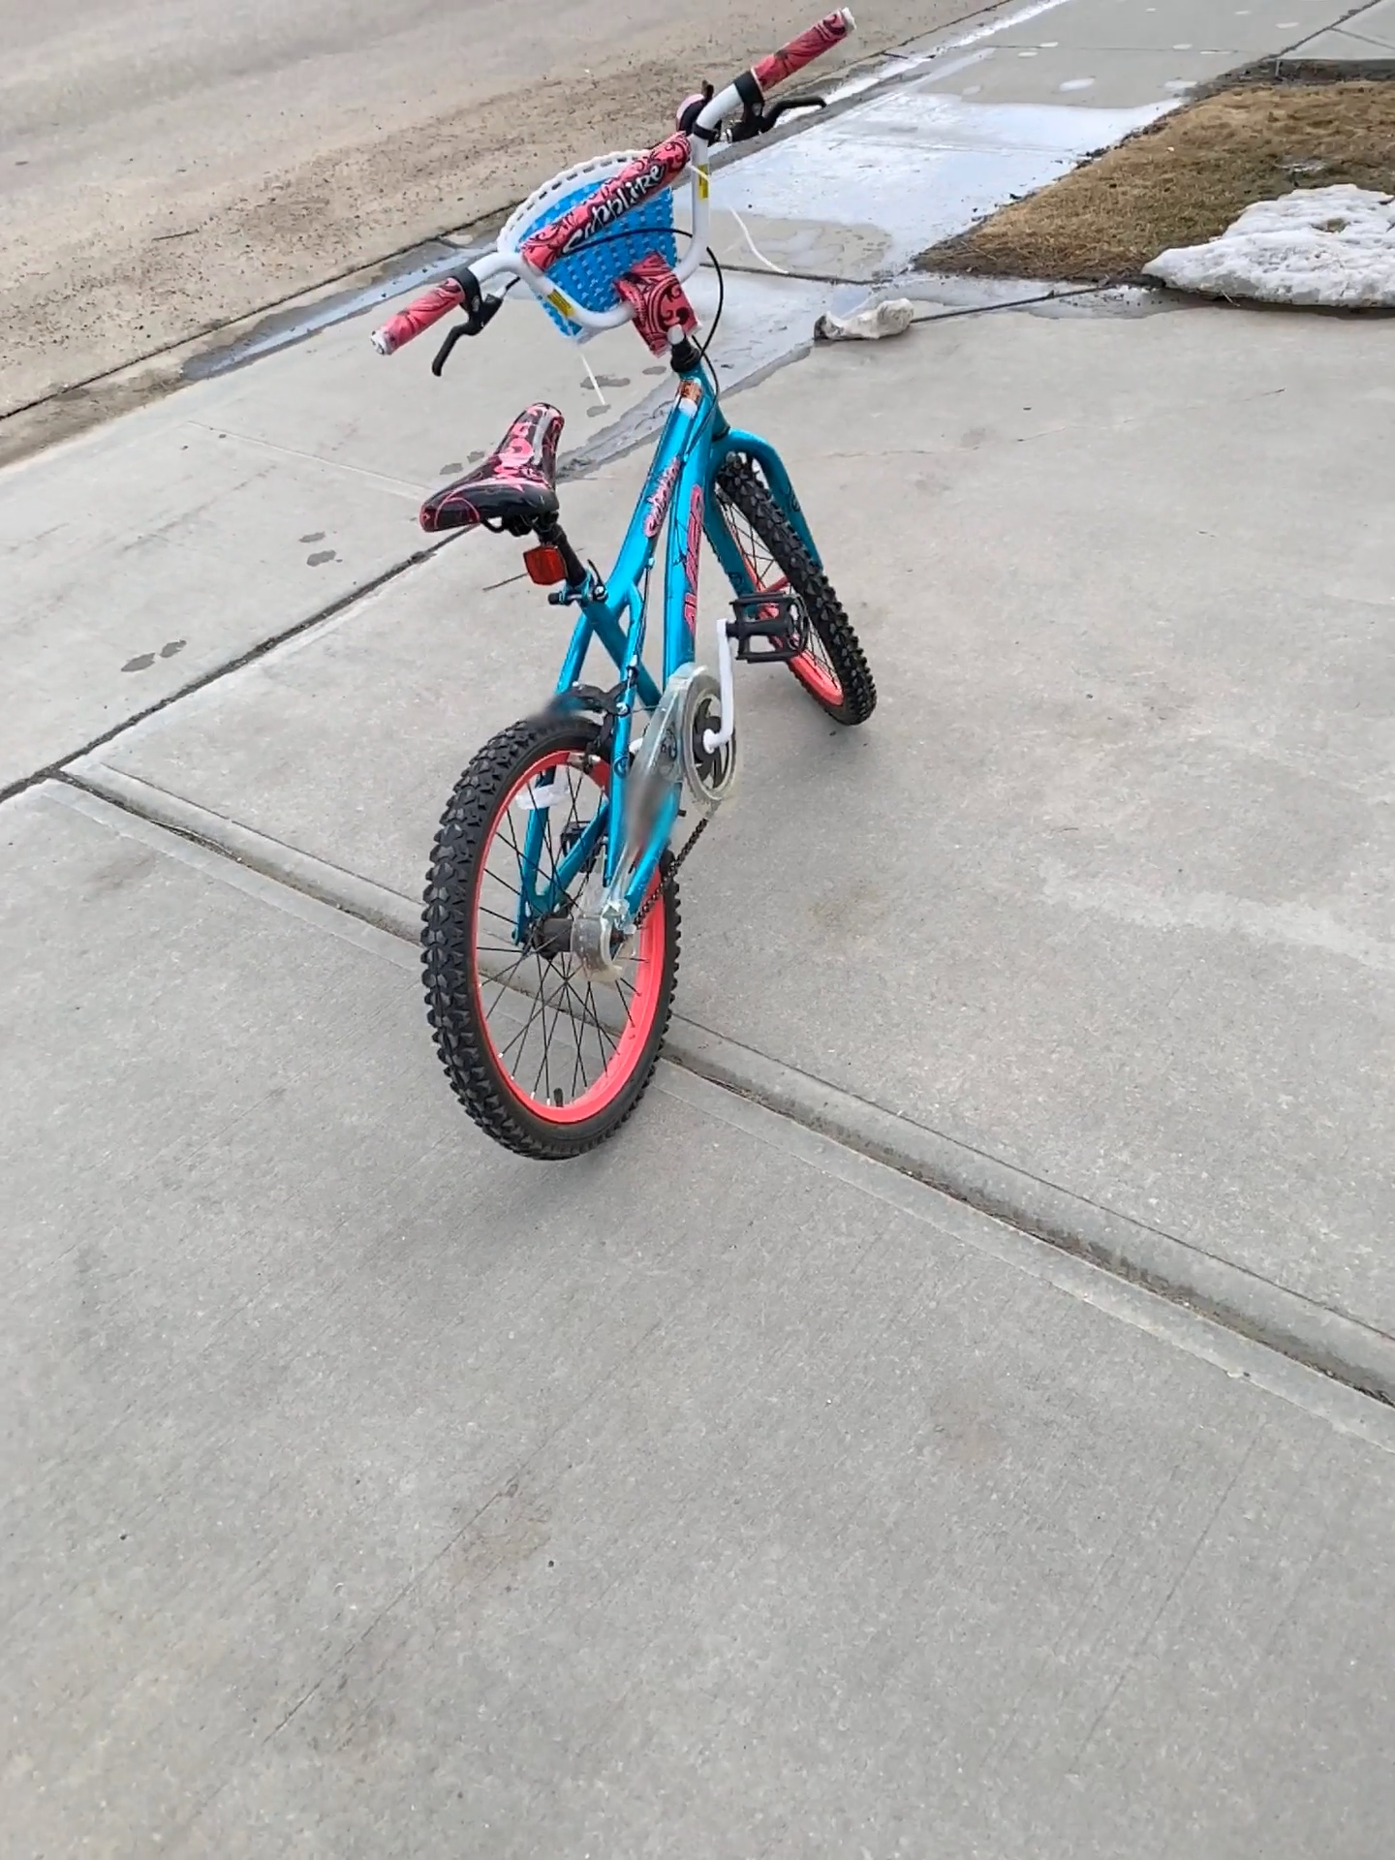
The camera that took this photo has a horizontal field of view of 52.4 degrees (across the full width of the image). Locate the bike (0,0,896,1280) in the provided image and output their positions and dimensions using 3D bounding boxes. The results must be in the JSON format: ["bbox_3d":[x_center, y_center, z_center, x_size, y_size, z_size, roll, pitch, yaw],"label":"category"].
[{"bbox_3d":[-0.195,-0.476,1.711,0.743,0.946,1.264,5,45,13],"label":"bike"}]
